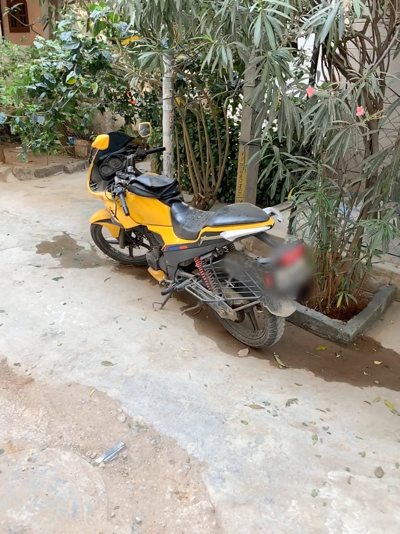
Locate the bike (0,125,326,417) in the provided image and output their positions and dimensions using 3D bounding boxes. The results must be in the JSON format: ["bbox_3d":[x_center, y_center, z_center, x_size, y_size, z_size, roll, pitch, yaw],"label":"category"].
[{"bbox_3d":[-0.369,-0.174,2.450,1.751,0.954,0.854,27,34,36],"label":"bike"}]
